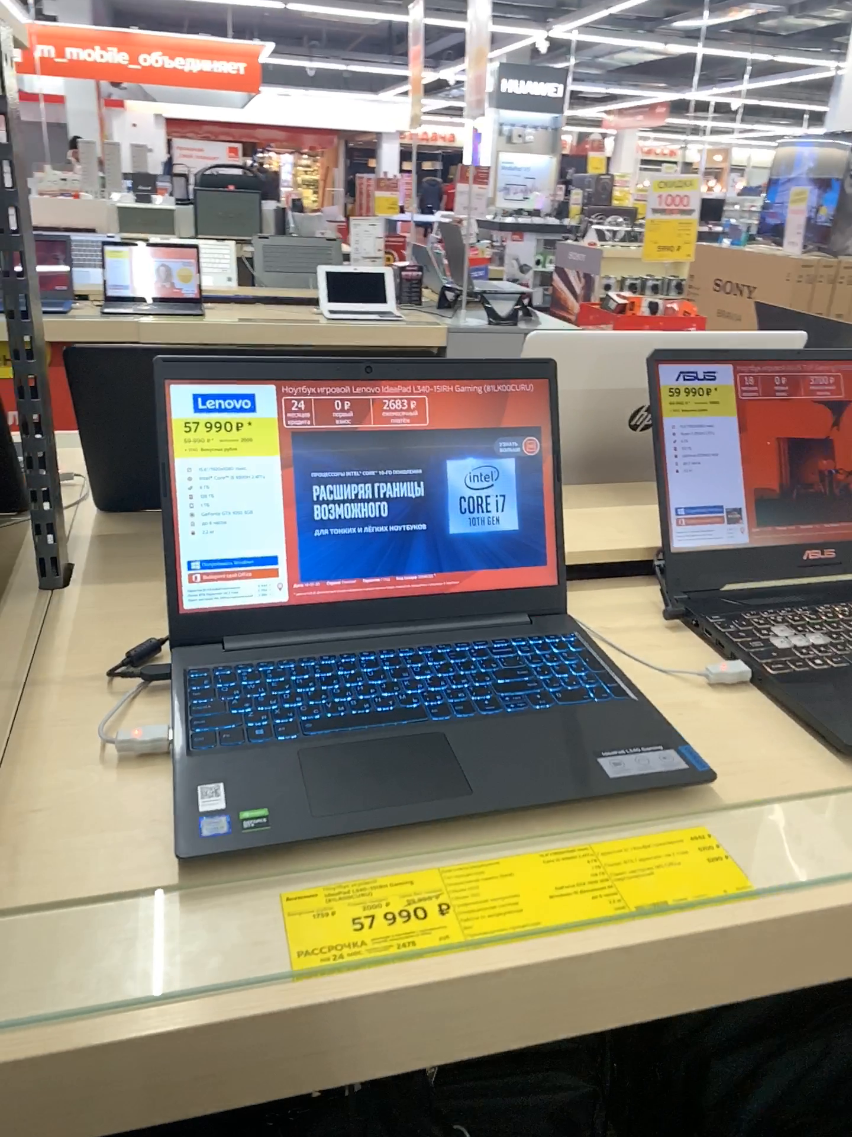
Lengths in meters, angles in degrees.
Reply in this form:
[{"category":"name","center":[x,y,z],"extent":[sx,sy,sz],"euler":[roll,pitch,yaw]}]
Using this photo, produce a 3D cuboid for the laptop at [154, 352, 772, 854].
[{"category":"laptop","center":[-0.015,-0.018,0.671],"extent":[0.357,0.223,0.348],"euler":[-4,25,-16]}]
